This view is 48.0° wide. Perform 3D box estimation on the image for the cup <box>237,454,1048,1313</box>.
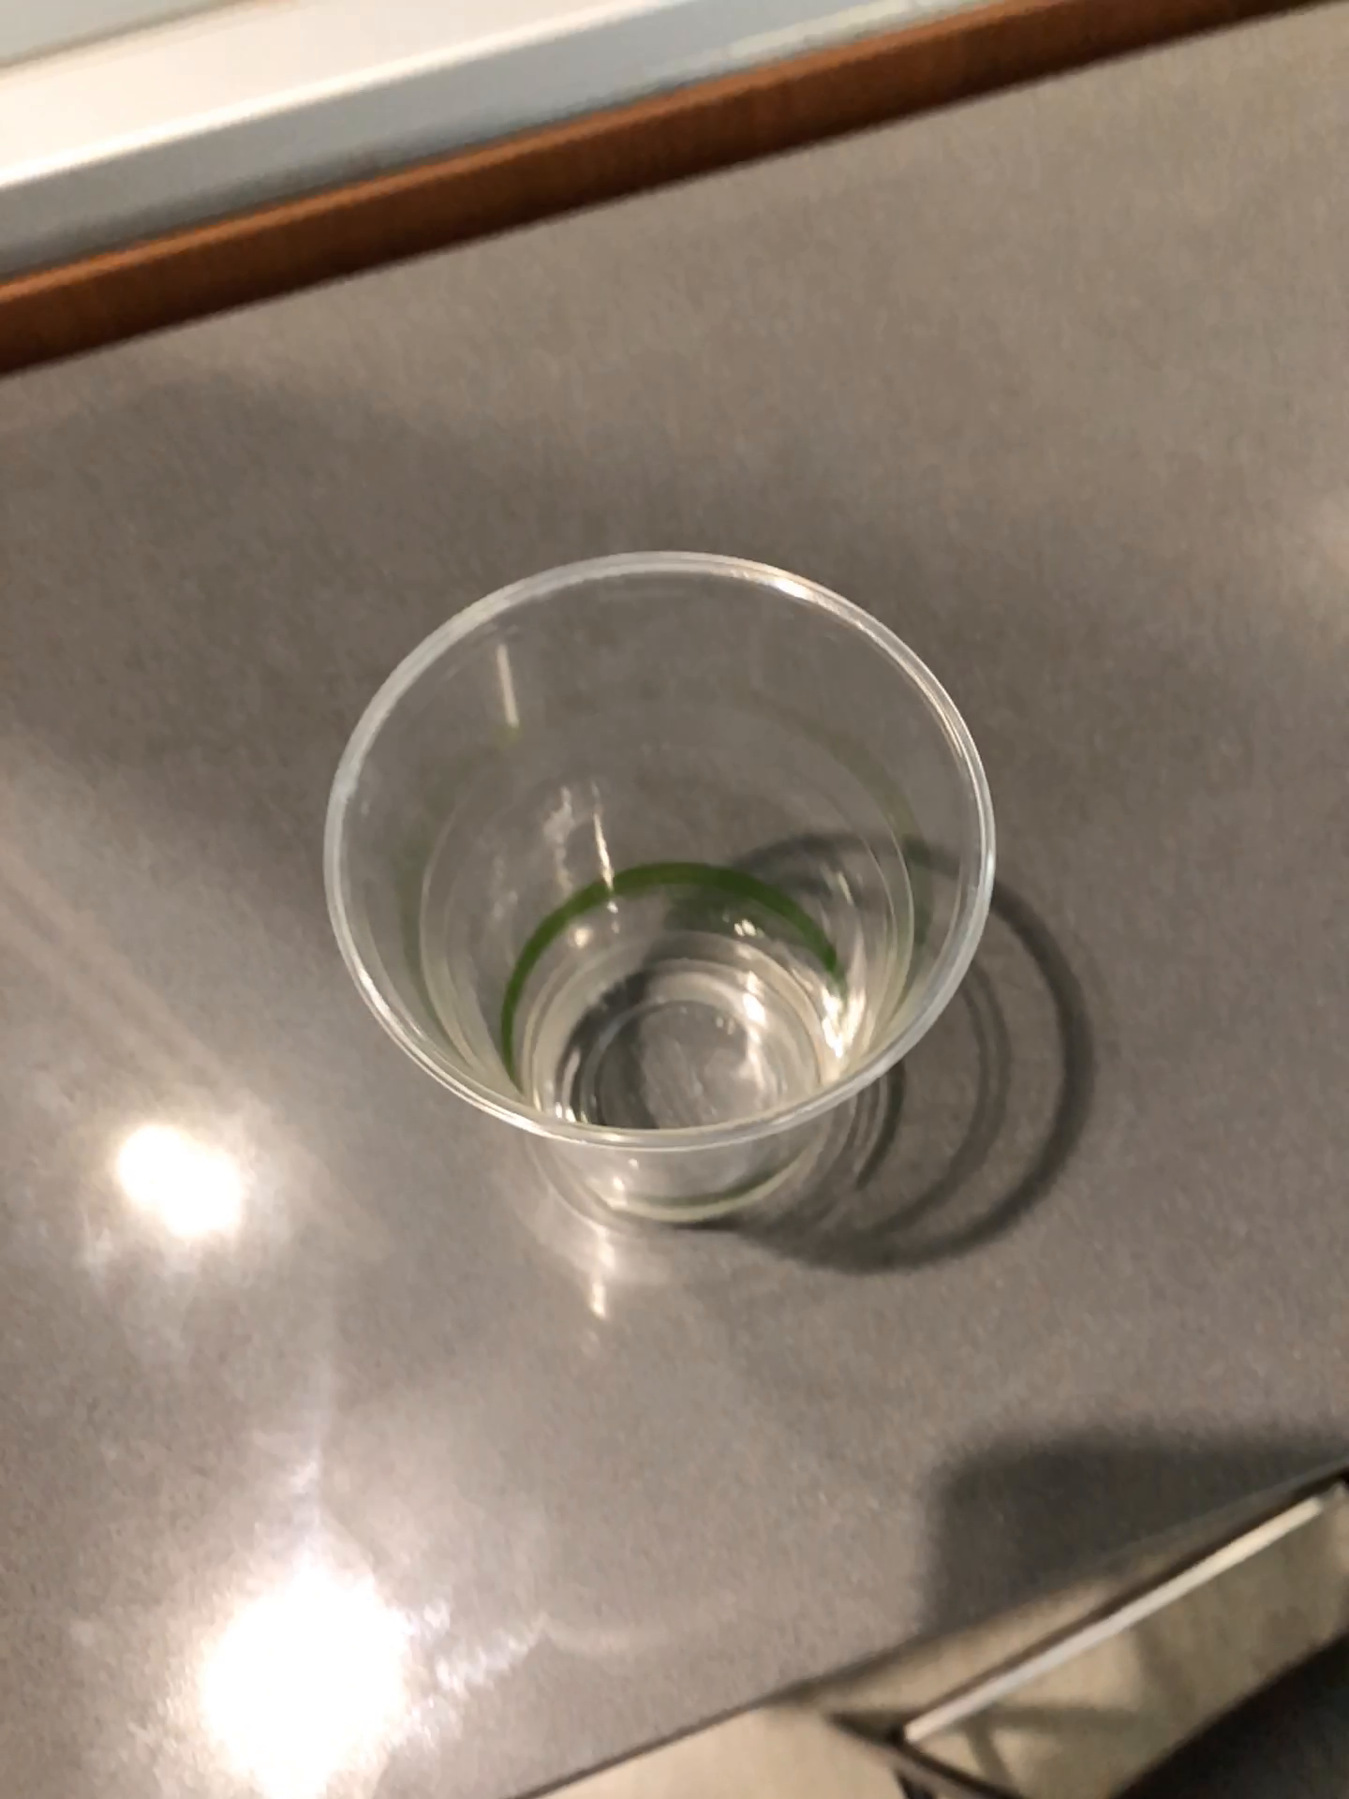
[{"bbox_3d":[0.002,0.003,0.270,0.100,0.110,0.100,-1,64,2],"label":"cup"}]
